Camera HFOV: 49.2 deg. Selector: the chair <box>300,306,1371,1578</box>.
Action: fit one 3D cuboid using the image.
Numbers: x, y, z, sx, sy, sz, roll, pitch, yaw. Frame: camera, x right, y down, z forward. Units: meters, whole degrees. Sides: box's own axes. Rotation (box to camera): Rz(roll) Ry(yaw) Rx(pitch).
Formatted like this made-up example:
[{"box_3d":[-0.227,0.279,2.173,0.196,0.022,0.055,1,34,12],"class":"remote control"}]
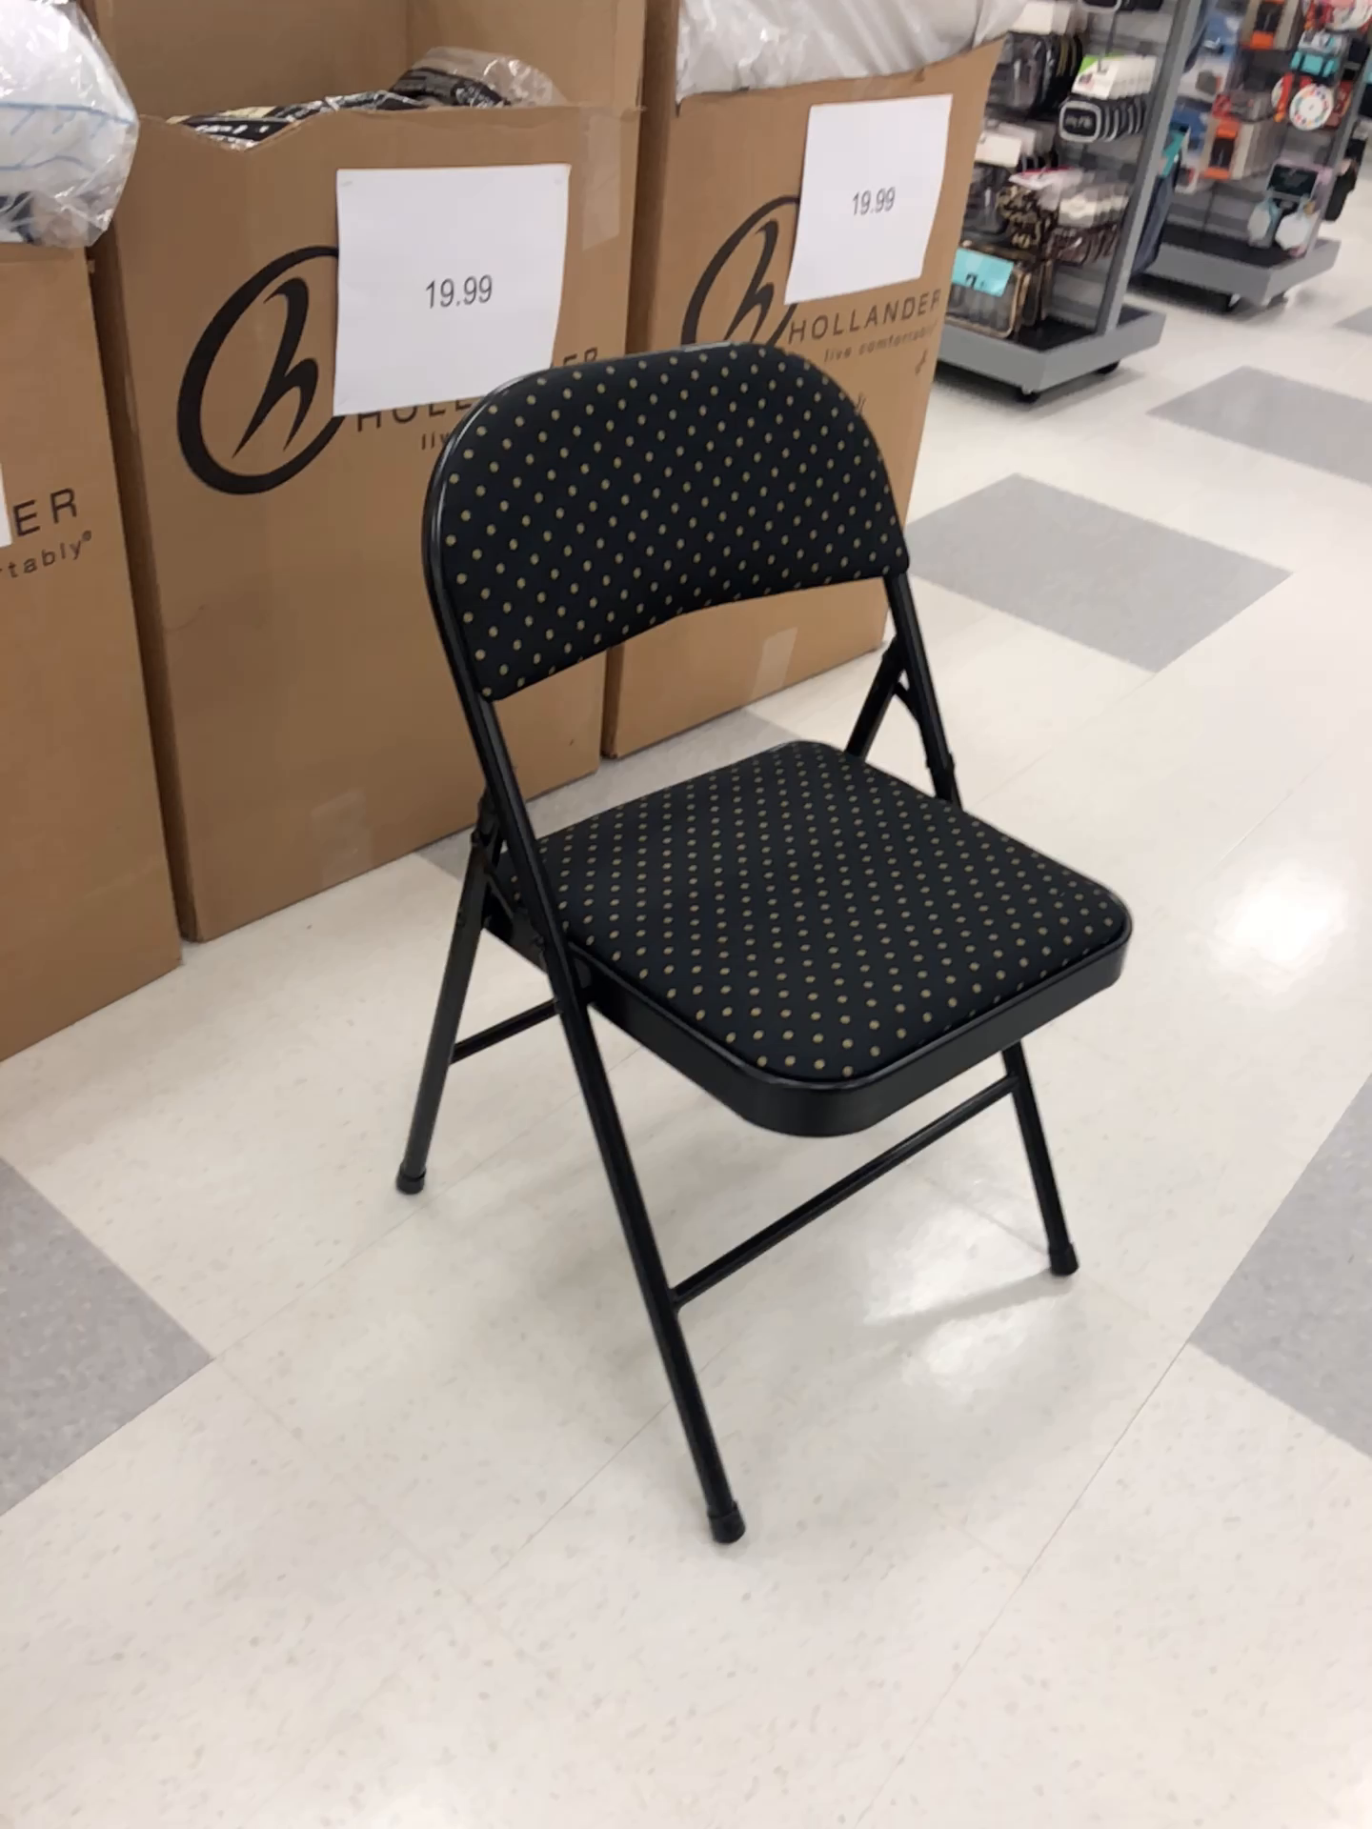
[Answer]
[{"box_3d":[0.067,-0.008,1.205,0.486,0.729,0.540,-25,47,-35],"class":"chair"}]
